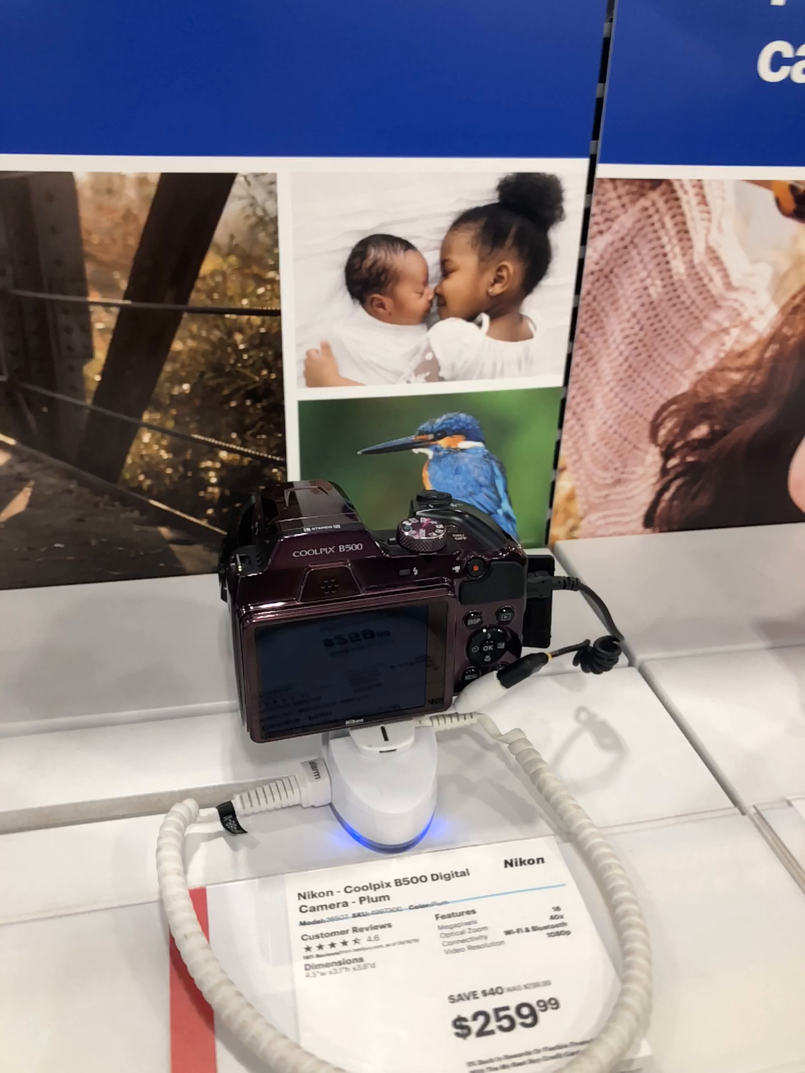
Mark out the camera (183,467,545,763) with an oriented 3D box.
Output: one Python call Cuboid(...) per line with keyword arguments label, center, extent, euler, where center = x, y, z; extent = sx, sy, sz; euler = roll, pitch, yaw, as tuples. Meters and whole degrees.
Cuboid(label="camera", center=(-0.021, 0.024, 0.362), extent=(0.120, 0.060, 0.100), euler=(-7, 28, -15))
